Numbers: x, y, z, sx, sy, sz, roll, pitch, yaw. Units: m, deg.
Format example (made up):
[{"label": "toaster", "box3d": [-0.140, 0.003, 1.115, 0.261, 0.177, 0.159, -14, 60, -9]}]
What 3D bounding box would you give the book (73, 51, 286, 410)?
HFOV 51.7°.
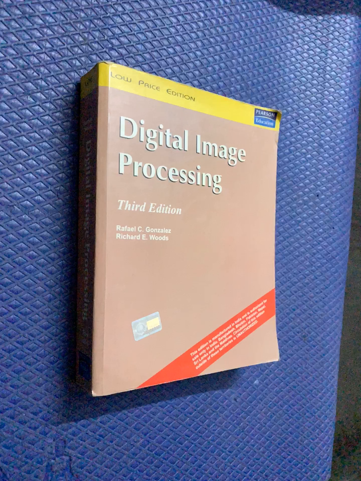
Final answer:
[{"label": "book", "box3d": [0.008, -0.005, 0.302, 0.175, 0.045, 0.225, 2, 86, -35]}]
